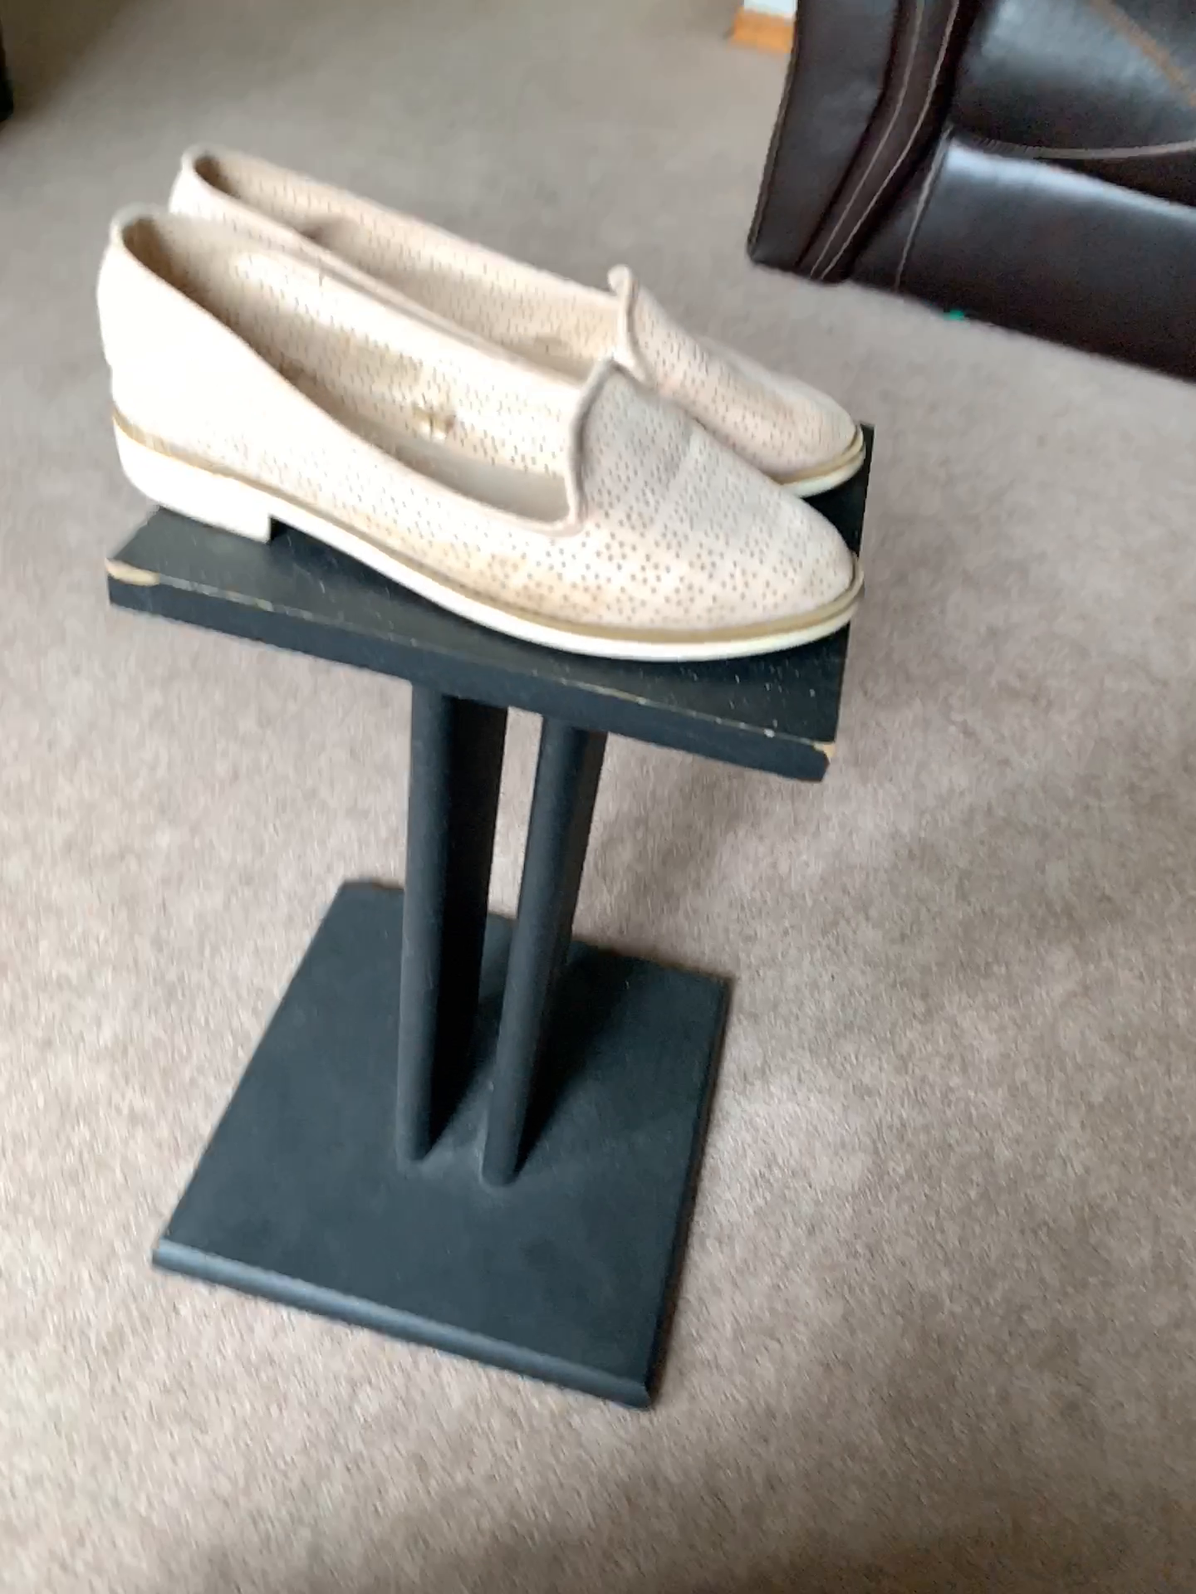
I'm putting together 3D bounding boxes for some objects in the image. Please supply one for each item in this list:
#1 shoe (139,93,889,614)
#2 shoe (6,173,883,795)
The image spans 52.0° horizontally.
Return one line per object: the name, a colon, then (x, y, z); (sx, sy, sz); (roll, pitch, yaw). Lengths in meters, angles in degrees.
shoe: (-0.028, -0.160, 0.452); (0.250, 0.079, 0.081); (17, 45, -8)
shoe: (-0.046, -0.100, 0.392); (0.250, 0.079, 0.081); (22, 46, 0)
